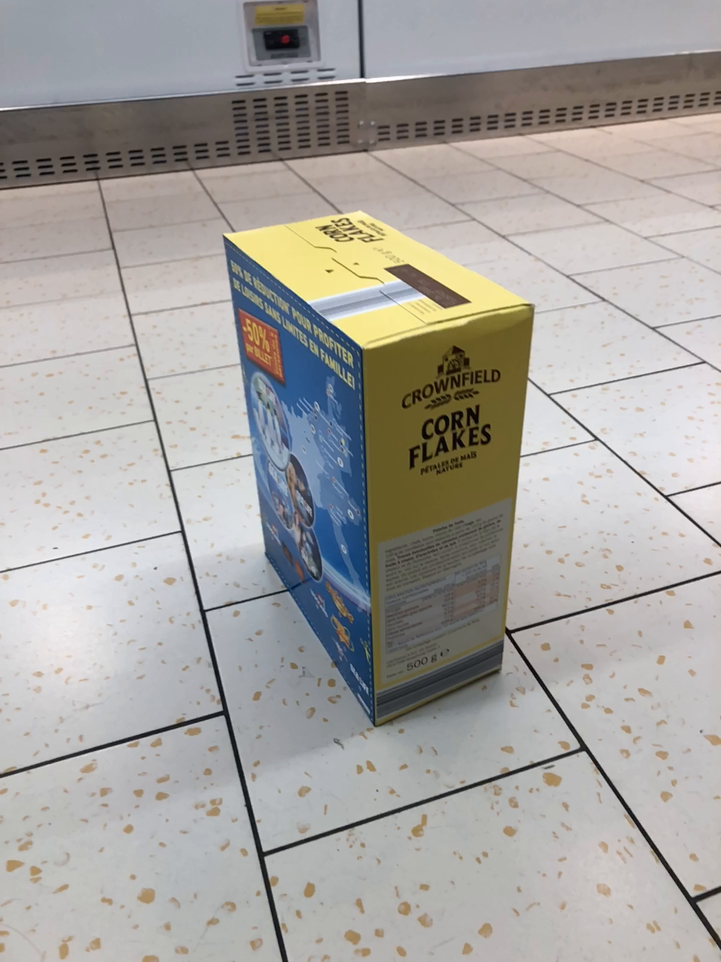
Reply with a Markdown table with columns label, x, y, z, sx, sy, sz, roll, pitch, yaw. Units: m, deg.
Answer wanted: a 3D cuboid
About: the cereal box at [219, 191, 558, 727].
| label | x | y | z | sx | sy | sz | roll | pitch | yaw |
| --- | --- | --- | --- | --- | --- | --- | --- | --- | --- |
| cereal box | 0.008 | -0.022 | 0.502 | 0.100 | 0.258 | 0.201 | -17 | 36 | -21 |
